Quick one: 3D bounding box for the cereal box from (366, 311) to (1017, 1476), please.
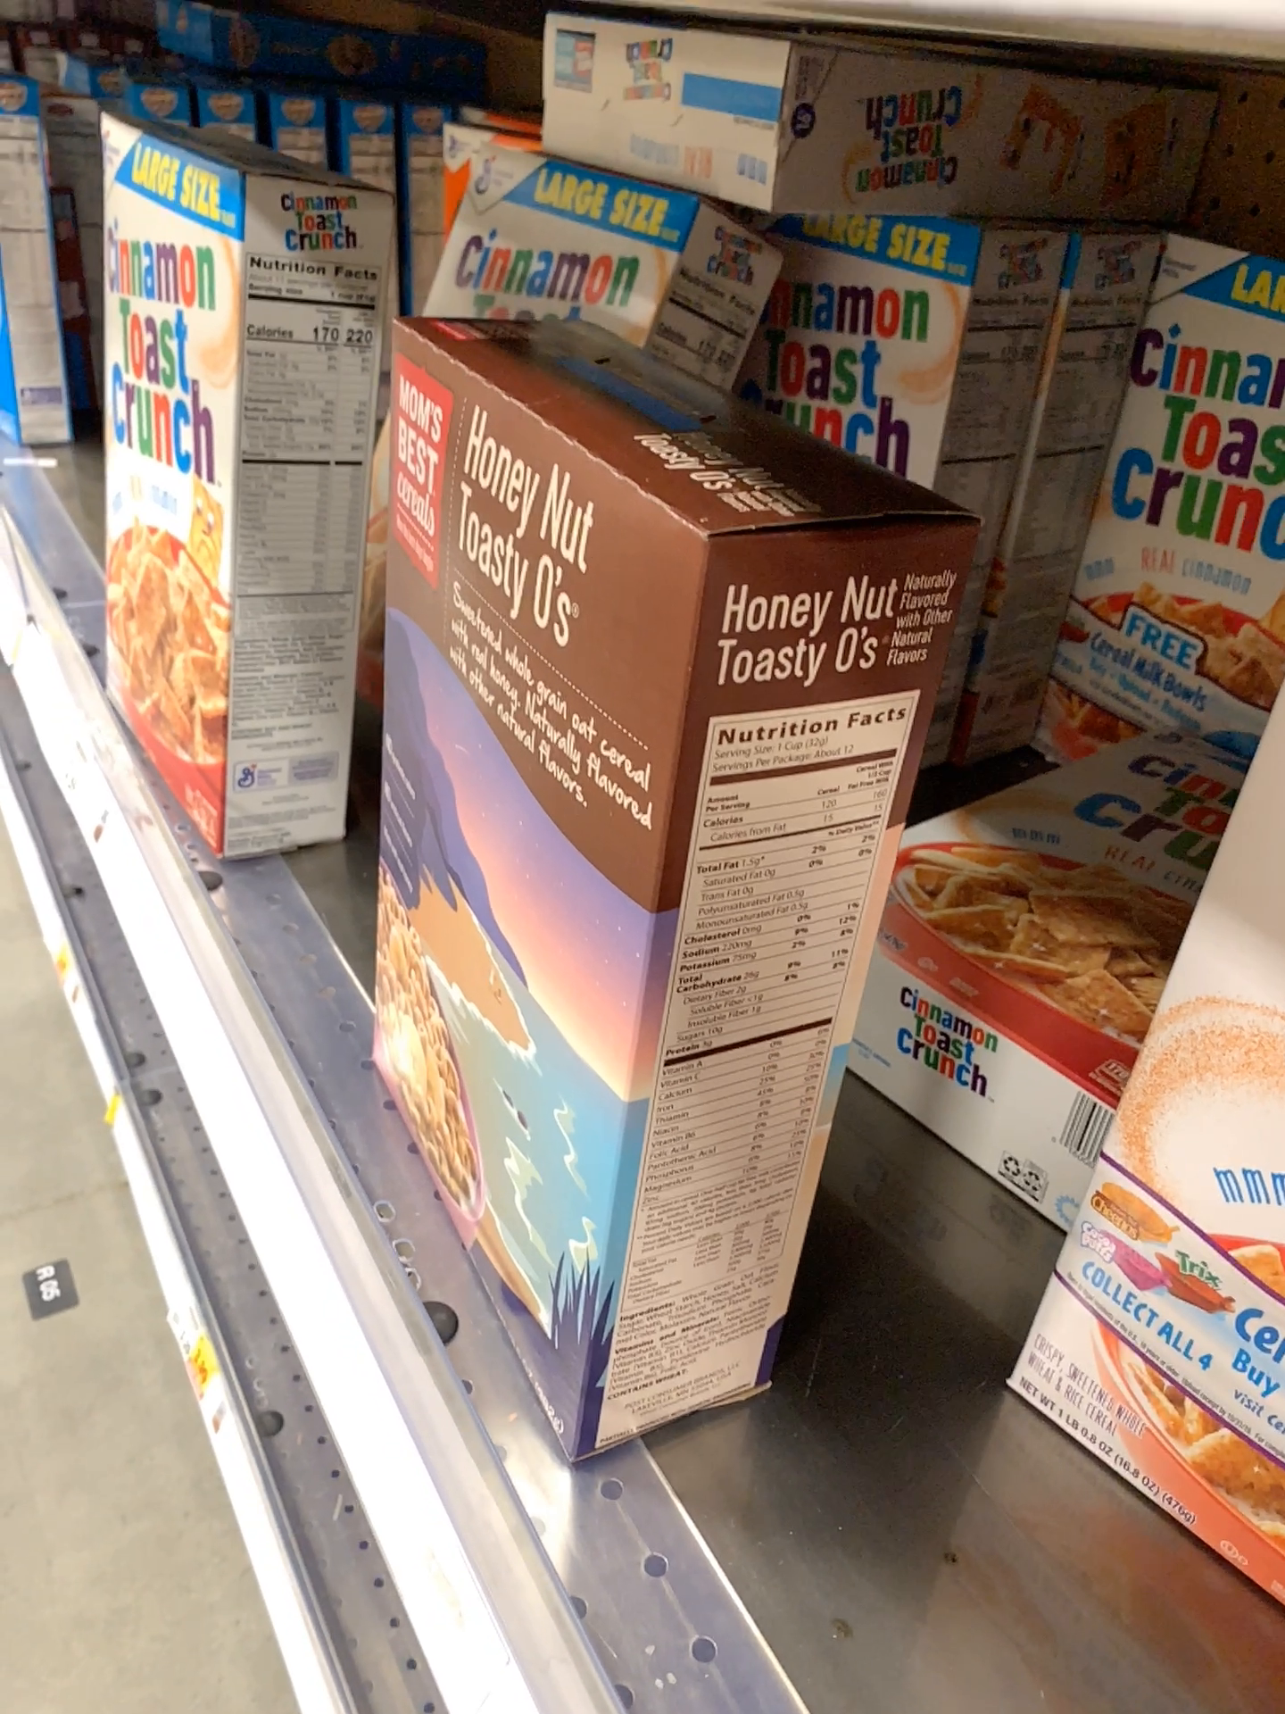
[{"bbox_3d":[-0.016,0.004,0.402,0.070,0.279,0.201,-10,35,-27],"label":"cereal box"}]
